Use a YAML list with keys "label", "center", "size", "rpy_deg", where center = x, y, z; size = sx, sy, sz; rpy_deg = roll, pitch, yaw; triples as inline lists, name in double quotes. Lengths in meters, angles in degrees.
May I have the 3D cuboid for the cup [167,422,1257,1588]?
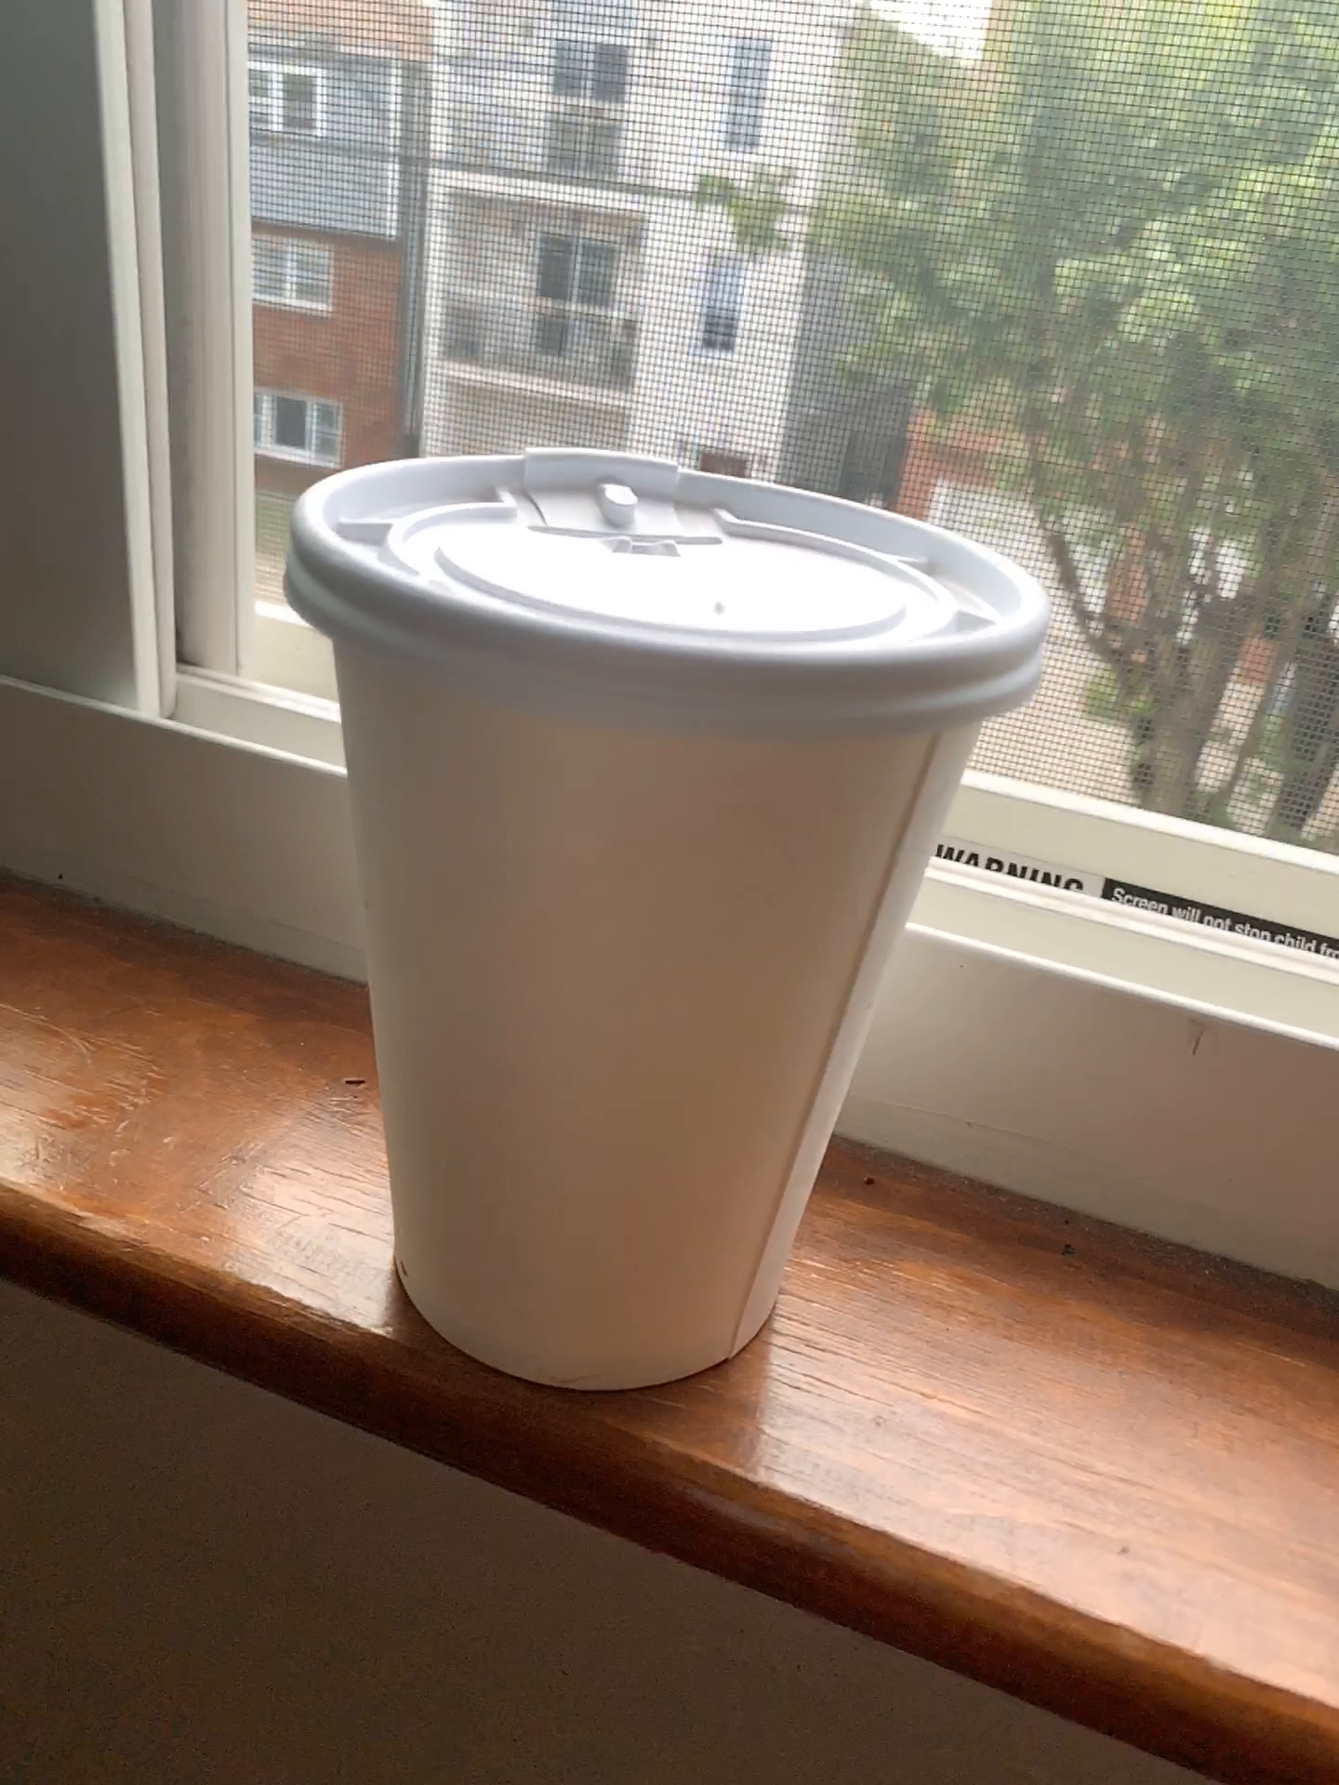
- label: "cup"
  center: [0.002, 0.000, 0.183]
  size: [0.090, 0.099, 0.090]
  rpy_deg: [6, 27, -3]
